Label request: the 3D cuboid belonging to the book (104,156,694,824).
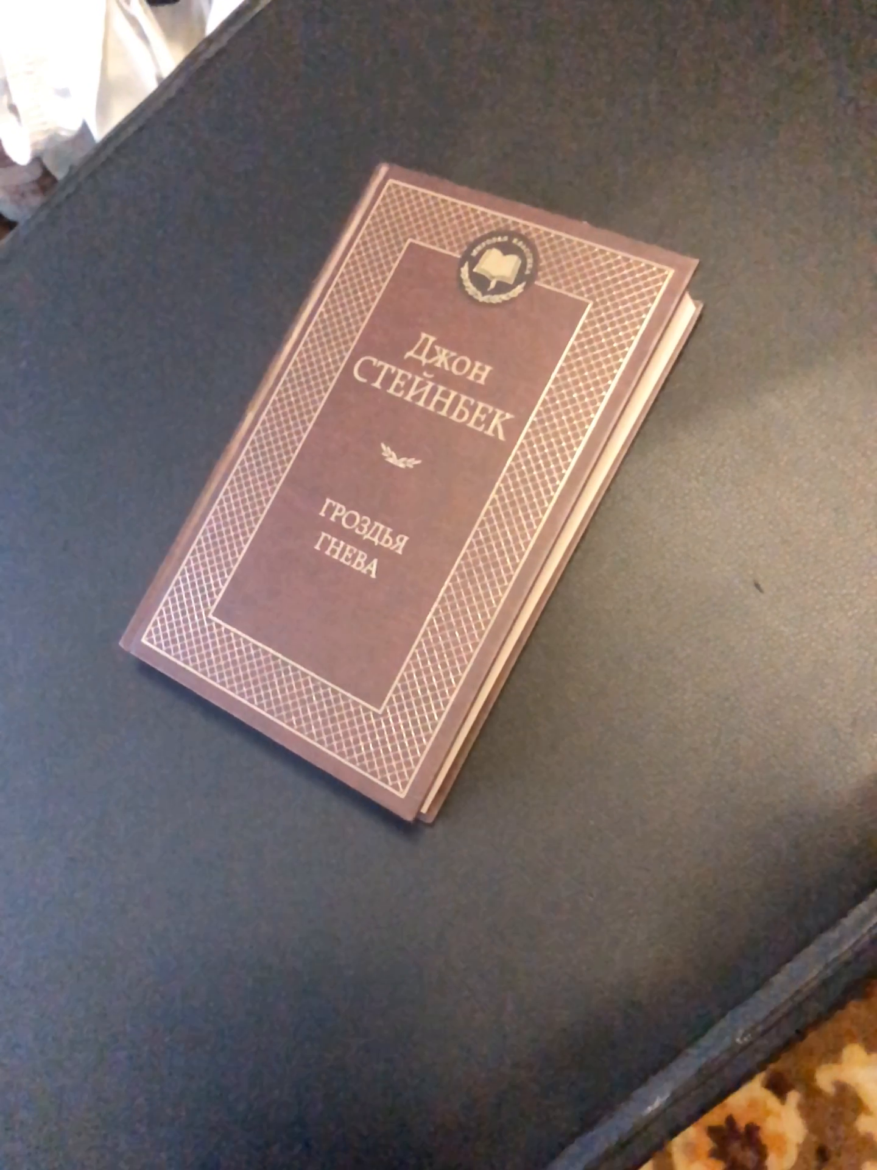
[{"bbox_3d":[-0.015,-0.038,0.347,0.130,0.040,0.199,26,88,22],"label":"book"}]
